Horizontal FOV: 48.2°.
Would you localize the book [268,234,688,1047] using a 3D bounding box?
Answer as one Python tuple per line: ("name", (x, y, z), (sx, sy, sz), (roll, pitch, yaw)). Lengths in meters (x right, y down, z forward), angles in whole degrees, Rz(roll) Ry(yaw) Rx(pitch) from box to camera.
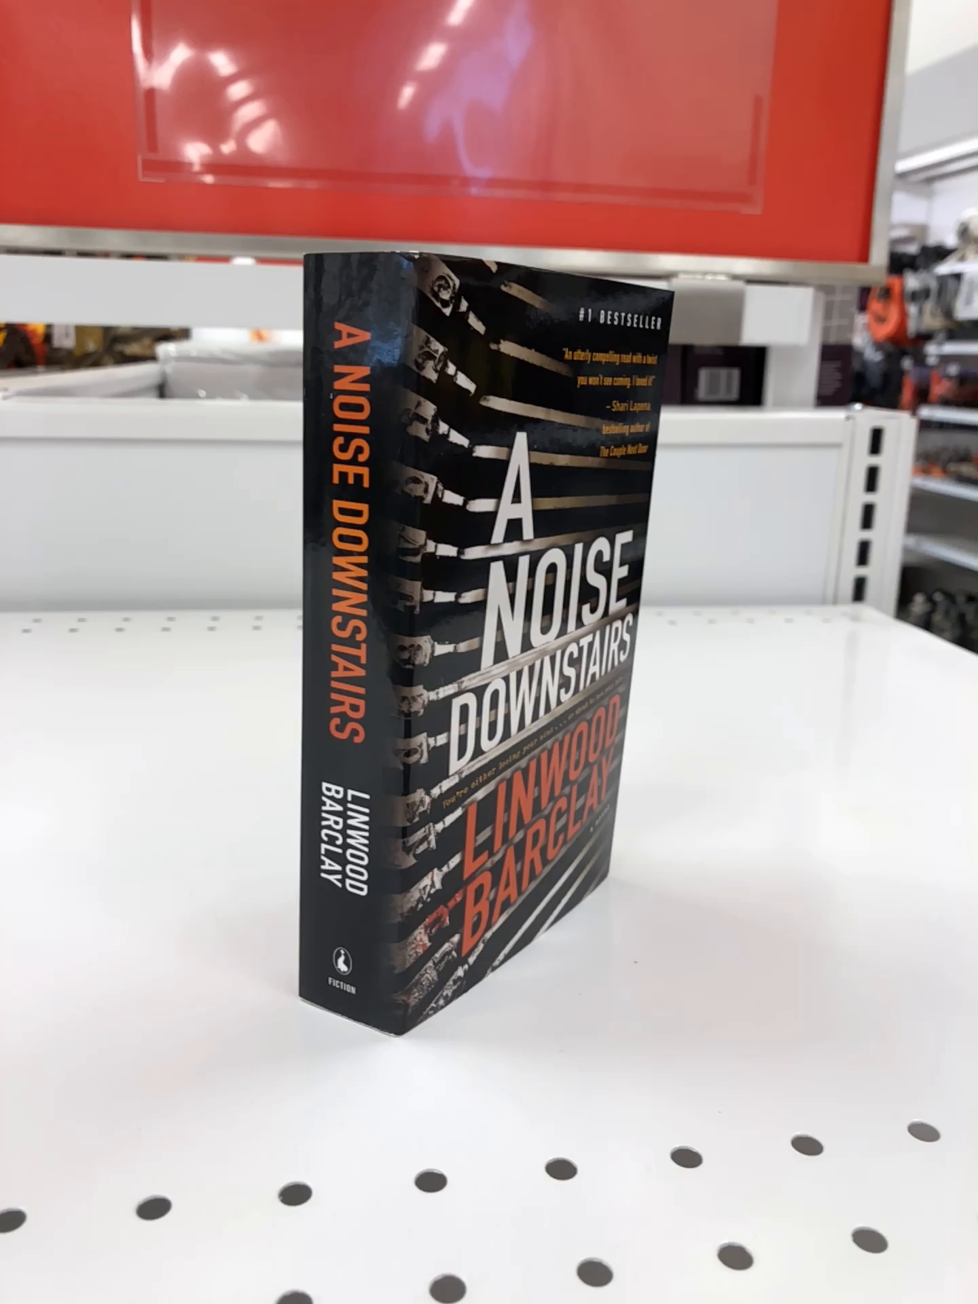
("book", (0.000, -0.009, 0.276), (0.041, 0.170, 0.110), (13, 18, 33))
